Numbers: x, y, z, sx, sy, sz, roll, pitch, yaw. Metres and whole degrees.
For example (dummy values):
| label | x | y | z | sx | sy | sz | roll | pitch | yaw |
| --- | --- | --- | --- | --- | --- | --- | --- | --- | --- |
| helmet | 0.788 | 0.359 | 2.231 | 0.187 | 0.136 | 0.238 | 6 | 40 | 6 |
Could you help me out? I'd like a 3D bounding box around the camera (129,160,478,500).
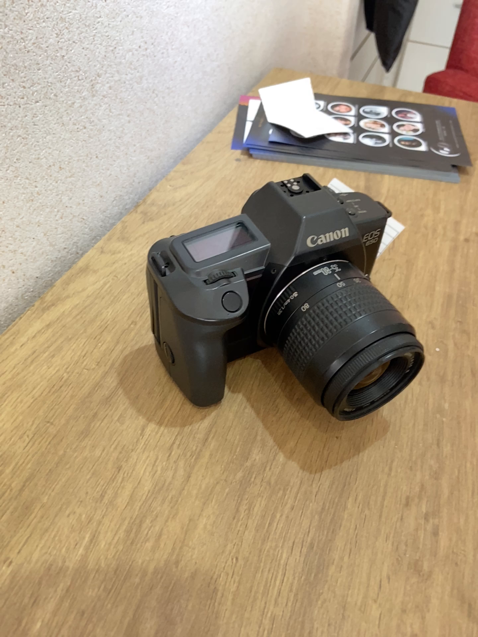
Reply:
| label | x | y | z | sx | sy | sz | roll | pitch | yaw |
| --- | --- | --- | --- | --- | --- | --- | --- | --- | --- |
| camera | 0.032 | -0.005 | 0.300 | 0.140 | 0.099 | 0.141 | -21 | 49 | -22 |
